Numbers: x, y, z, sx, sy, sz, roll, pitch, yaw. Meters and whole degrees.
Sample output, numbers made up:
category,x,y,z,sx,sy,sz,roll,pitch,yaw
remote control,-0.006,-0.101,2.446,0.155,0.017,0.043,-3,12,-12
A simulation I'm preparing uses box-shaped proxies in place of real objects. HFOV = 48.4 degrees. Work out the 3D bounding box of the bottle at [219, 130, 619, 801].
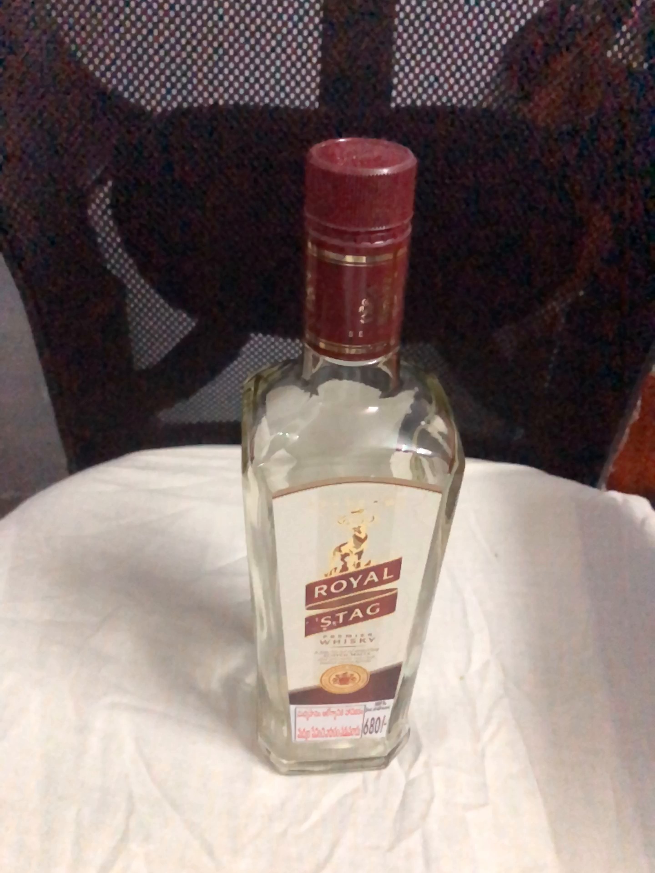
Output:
category,x,y,z,sx,sy,sz,roll,pitch,yaw
bottle,0.011,0.041,0.273,0.090,0.279,0.060,1,40,-5
